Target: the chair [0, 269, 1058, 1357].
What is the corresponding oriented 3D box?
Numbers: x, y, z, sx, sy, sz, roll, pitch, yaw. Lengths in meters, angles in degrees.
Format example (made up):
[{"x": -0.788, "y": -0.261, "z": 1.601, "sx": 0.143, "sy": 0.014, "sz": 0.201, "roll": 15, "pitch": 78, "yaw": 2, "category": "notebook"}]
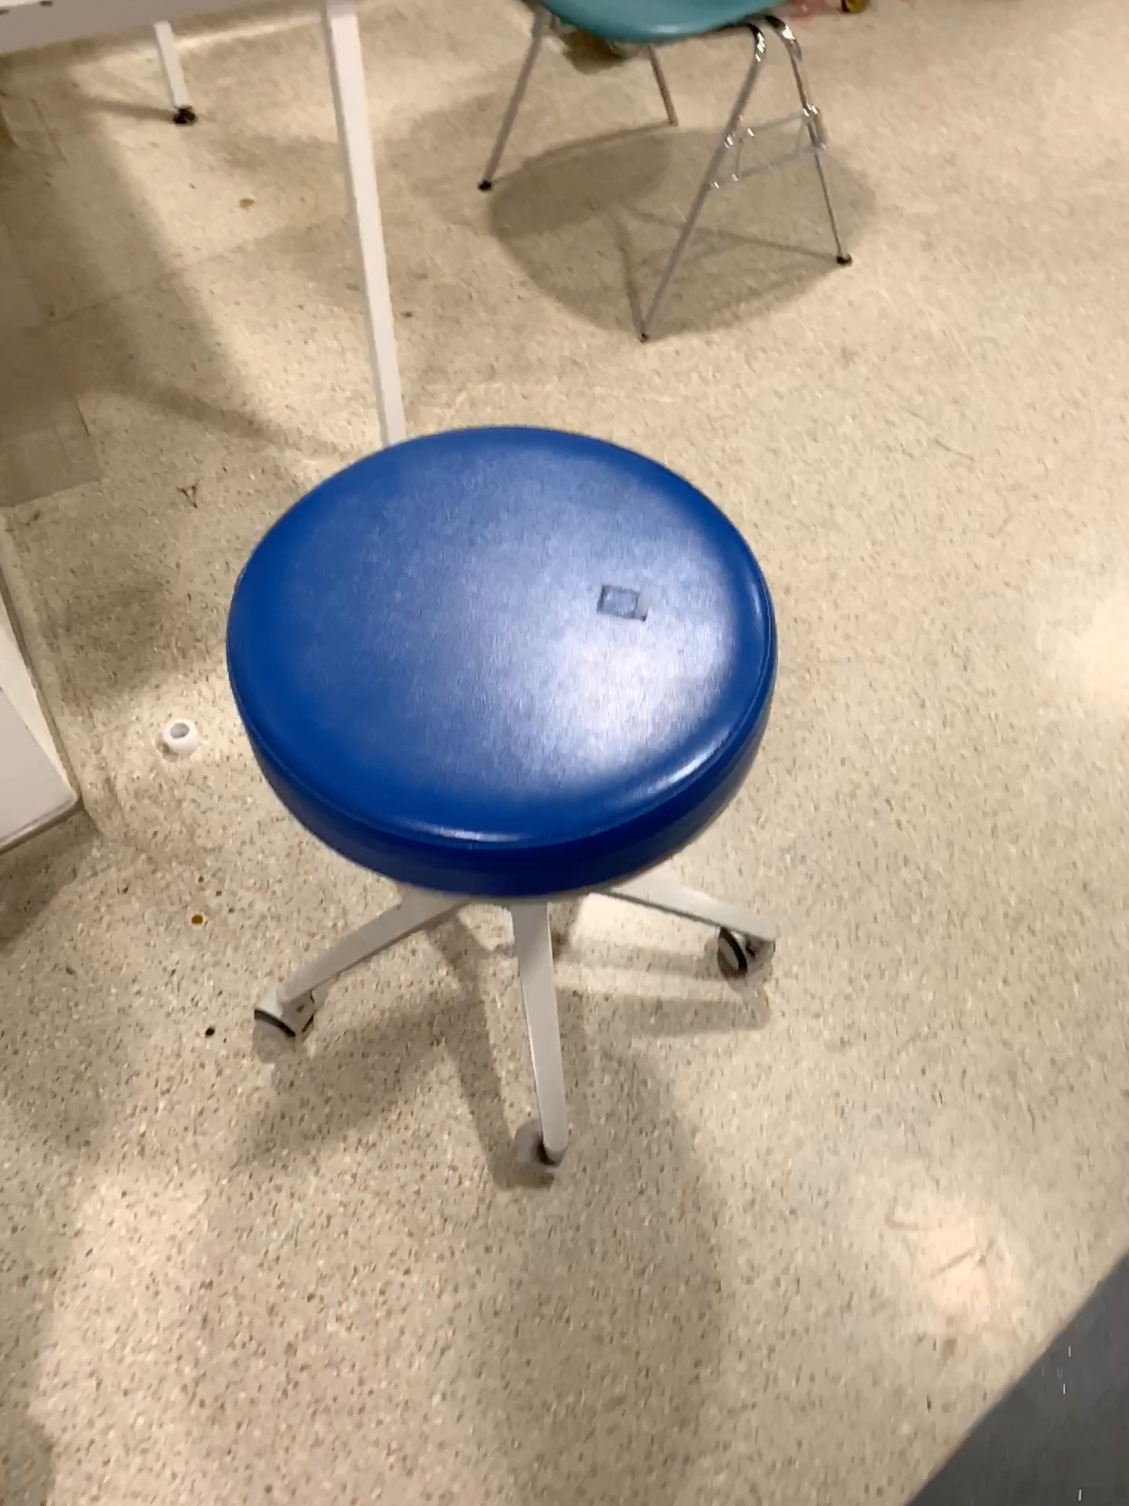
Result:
[{"x": -0.050, "y": 0.076, "z": 1.082, "sx": 0.582, "sy": 0.636, "sz": 0.572, "roll": 36, "pitch": 63, "yaw": 20, "category": "chair"}]
